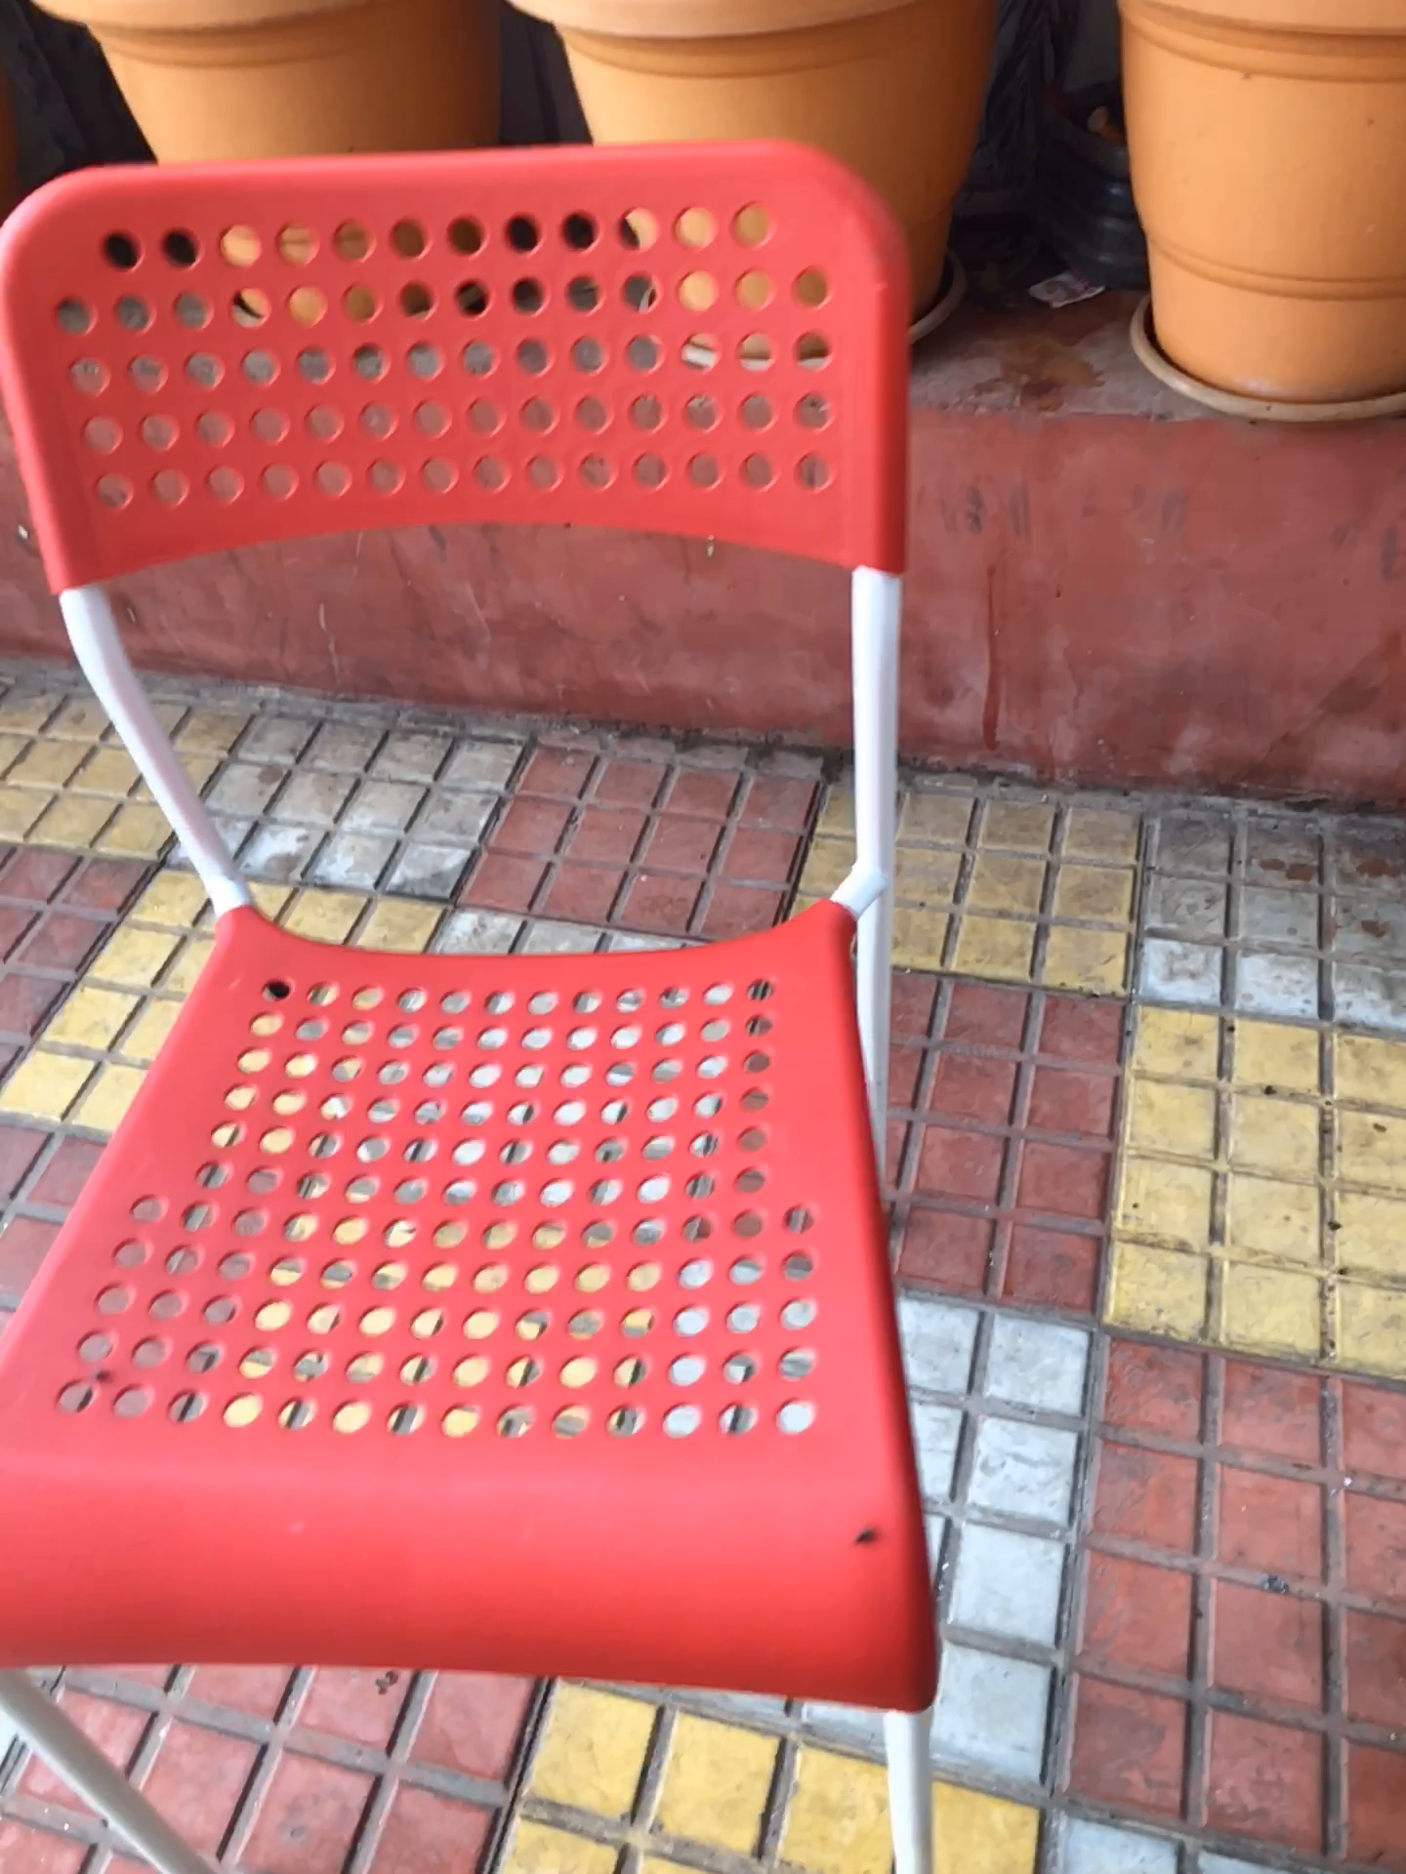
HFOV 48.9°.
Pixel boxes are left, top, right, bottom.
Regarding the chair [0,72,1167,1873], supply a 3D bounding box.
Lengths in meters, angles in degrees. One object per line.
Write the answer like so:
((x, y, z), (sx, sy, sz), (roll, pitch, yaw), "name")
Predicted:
((-0.108, 0.095, 0.699), (0.450, 0.696, 0.543), (0, 47, 6), "chair")
